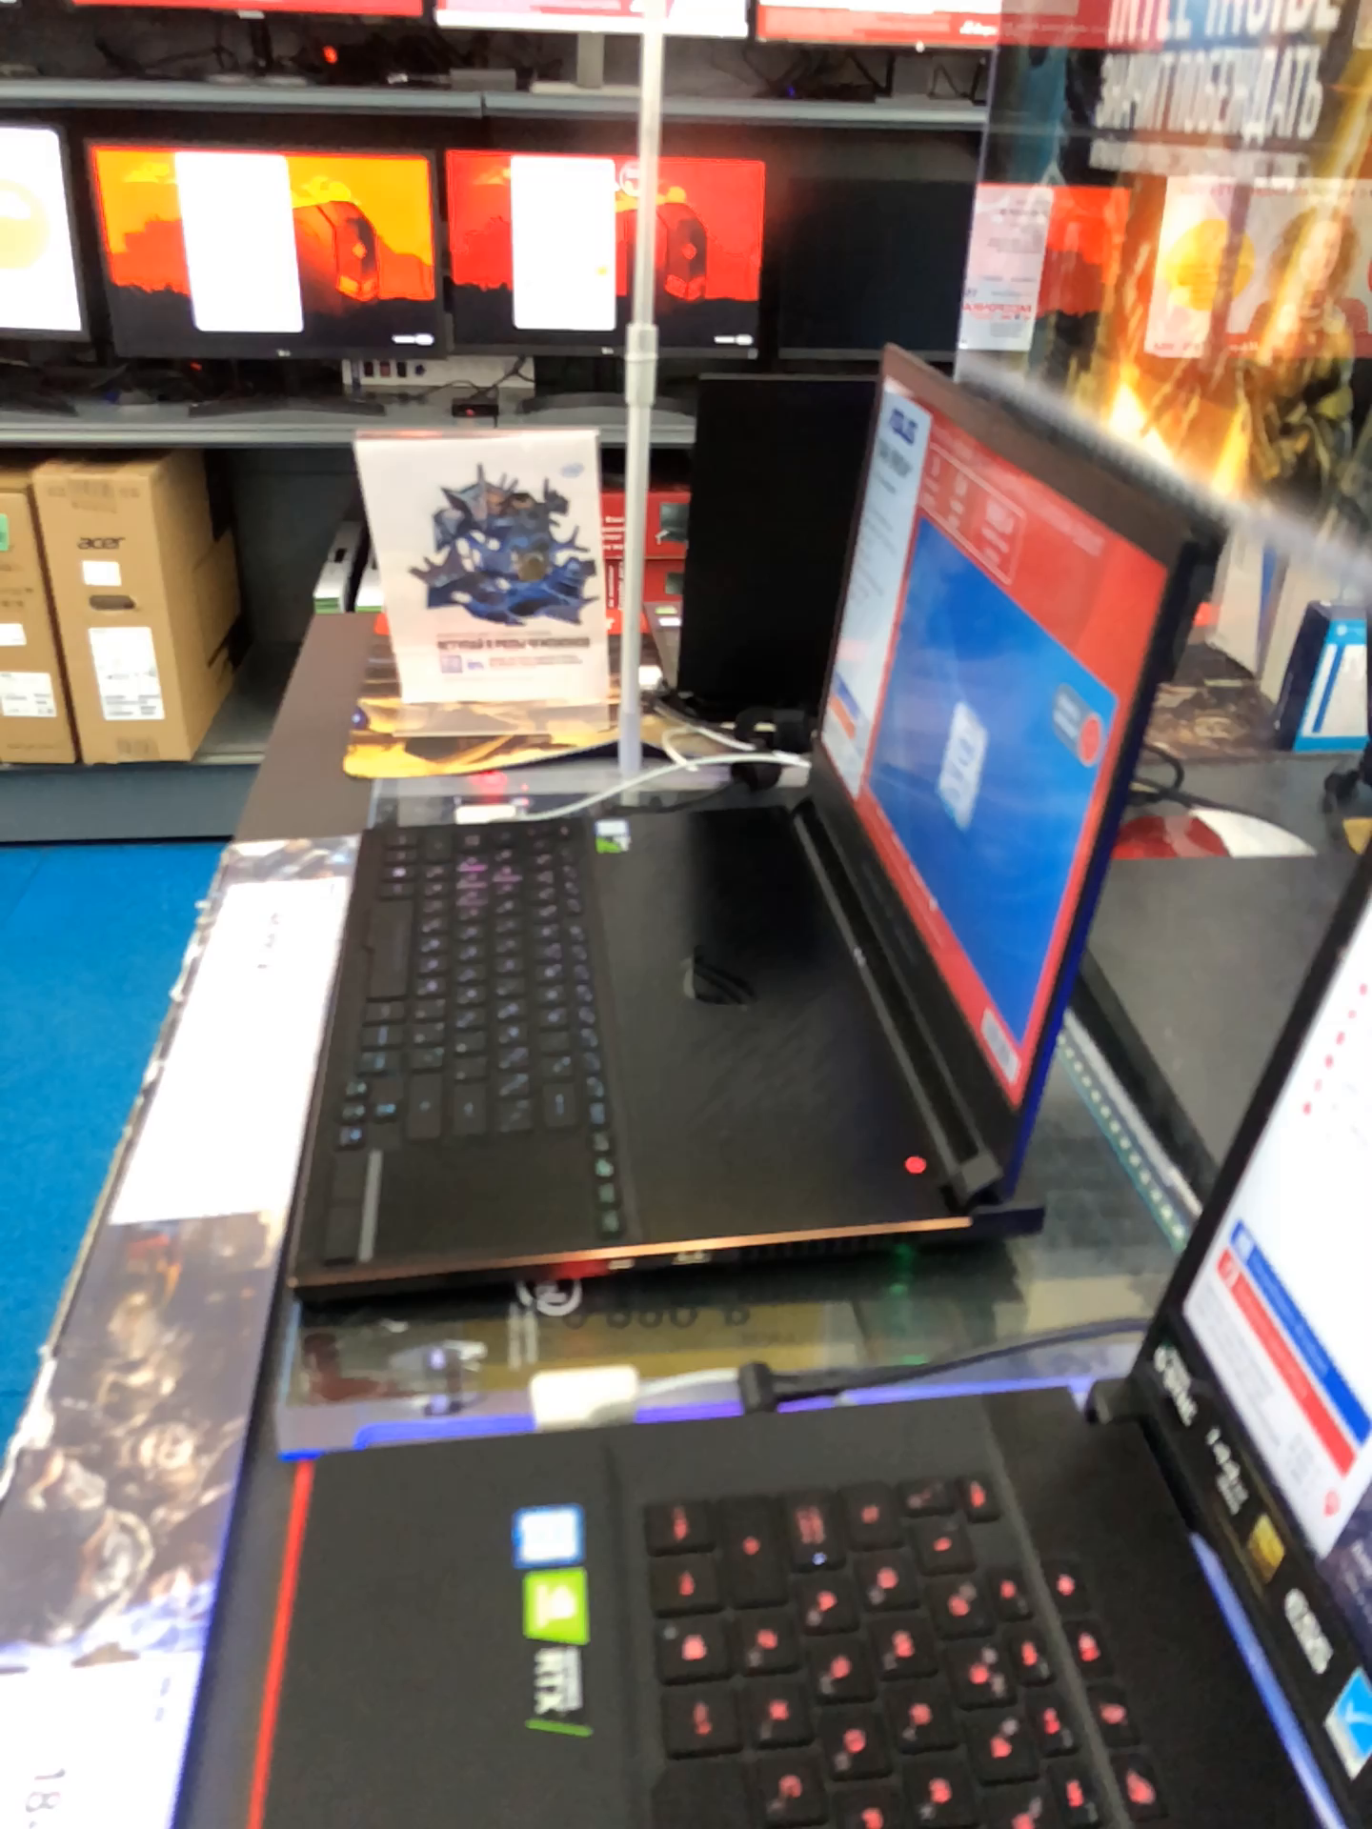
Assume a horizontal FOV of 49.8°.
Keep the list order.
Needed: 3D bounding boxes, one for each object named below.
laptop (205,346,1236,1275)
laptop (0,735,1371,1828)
[{"bbox_3d":[-0.009,-0.077,0.606,0.278,0.241,0.351,-3,29,-6],"label":"laptop"},{"bbox_3d":[0.059,0.138,0.241,0.301,0.219,0.343,-2,28,-3],"label":"laptop"}]
